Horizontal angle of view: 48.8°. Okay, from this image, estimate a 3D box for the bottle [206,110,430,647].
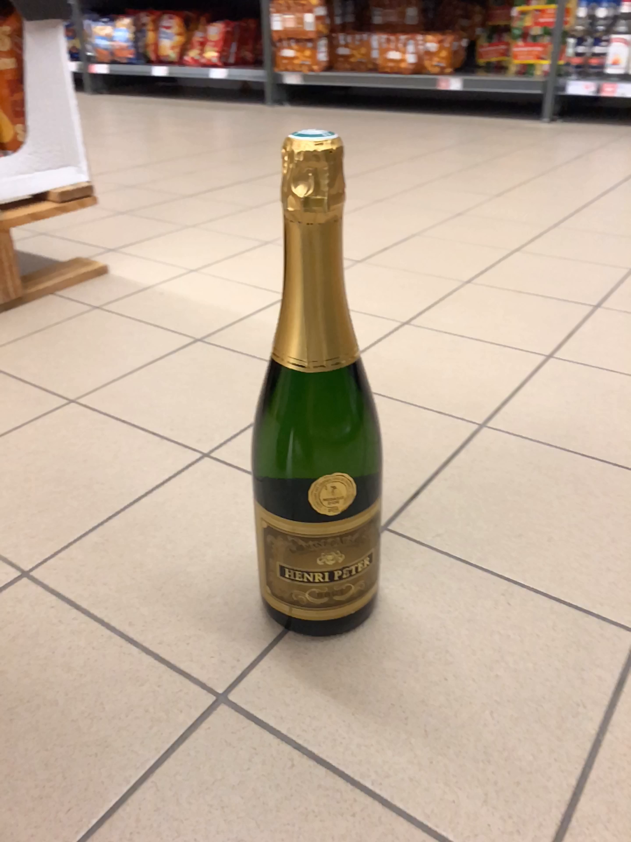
[{"bbox_3d":[-0.001,-0.016,0.427,0.100,0.308,0.101,-1,29,1],"label":"bottle"}]
